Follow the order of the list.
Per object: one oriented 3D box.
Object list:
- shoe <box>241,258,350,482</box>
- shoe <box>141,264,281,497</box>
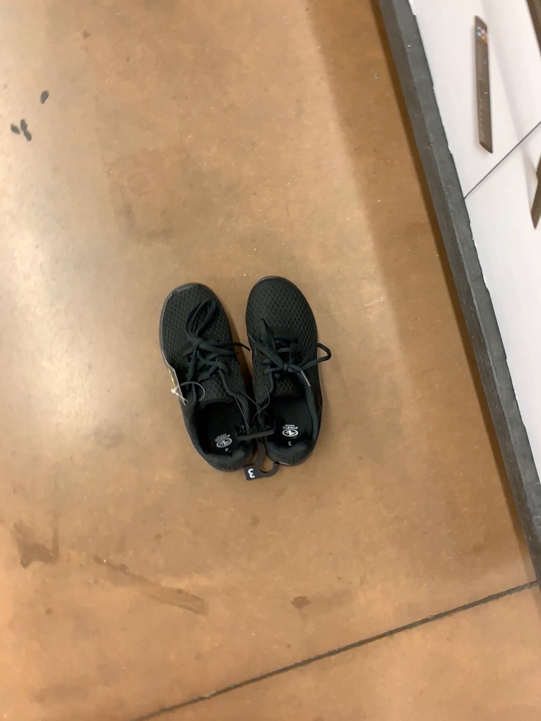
[{"bbox_3d":[0.025,0.009,0.624,0.090,0.080,0.230,-6,90,-6],"label":"shoe"},{"bbox_3d":[-0.066,0.021,0.619,0.090,0.080,0.230,-15,91,-6],"label":"shoe"}]
